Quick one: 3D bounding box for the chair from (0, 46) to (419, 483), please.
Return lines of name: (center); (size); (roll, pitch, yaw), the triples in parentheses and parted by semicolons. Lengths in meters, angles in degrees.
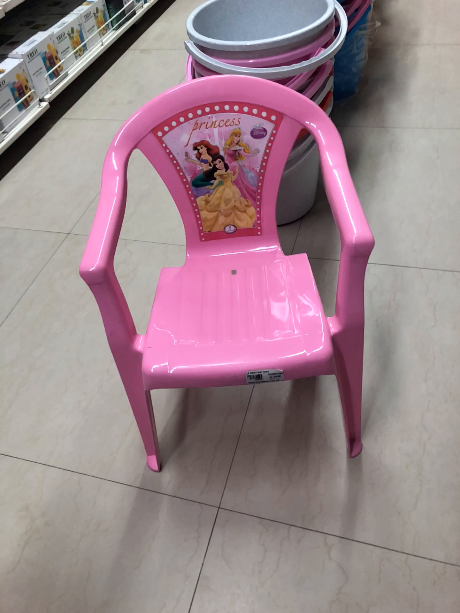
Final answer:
chair: (-0.001, -0.030, 0.724); (0.370, 0.477, 0.352); (-6, 47, 5)
